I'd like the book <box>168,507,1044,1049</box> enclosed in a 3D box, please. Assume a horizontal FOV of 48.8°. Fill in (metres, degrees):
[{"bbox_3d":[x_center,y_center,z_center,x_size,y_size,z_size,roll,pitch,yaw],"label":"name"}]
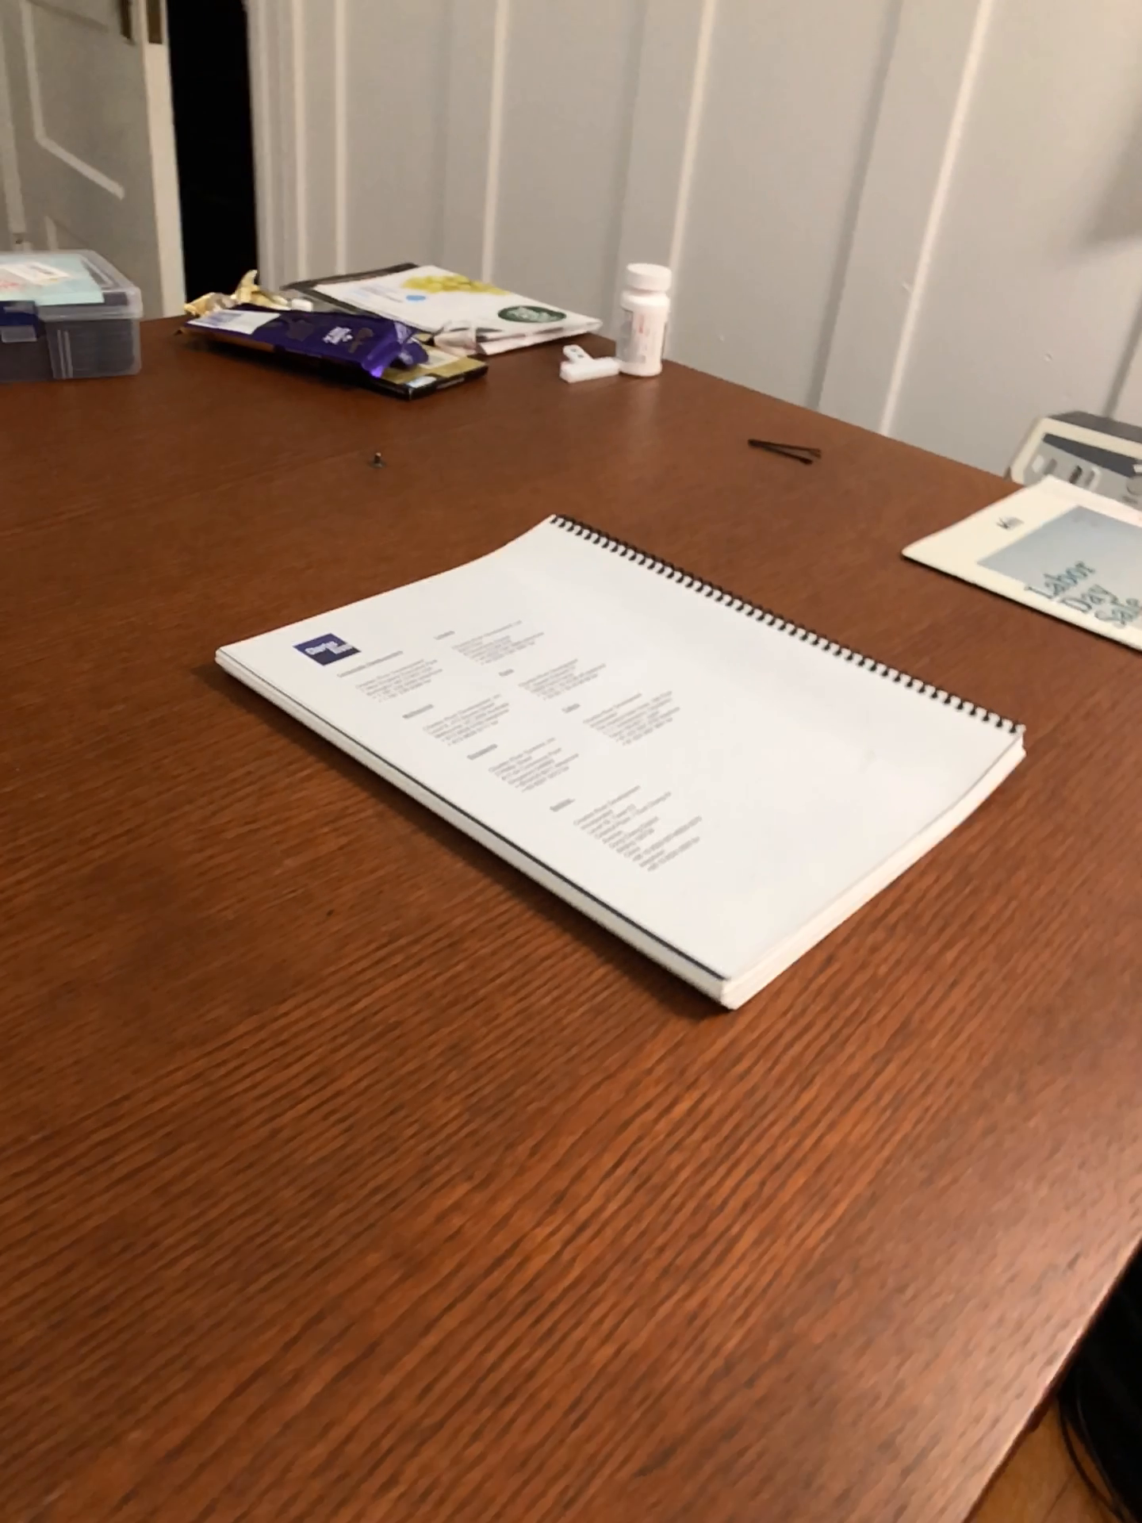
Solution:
[{"bbox_3d":[0.014,-0.025,0.544,0.301,0.020,0.231,30,40,31],"label":"book"}]
